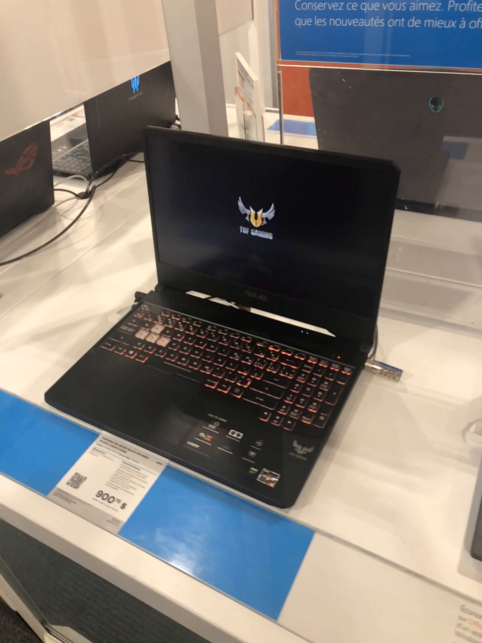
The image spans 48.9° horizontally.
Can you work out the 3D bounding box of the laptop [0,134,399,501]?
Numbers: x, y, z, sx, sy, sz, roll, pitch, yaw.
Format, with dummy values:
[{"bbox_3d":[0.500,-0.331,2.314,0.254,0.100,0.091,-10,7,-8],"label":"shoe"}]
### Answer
[{"bbox_3d":[-0.041,-0.037,0.646,0.351,0.235,0.302,16,45,25],"label":"laptop"}]
